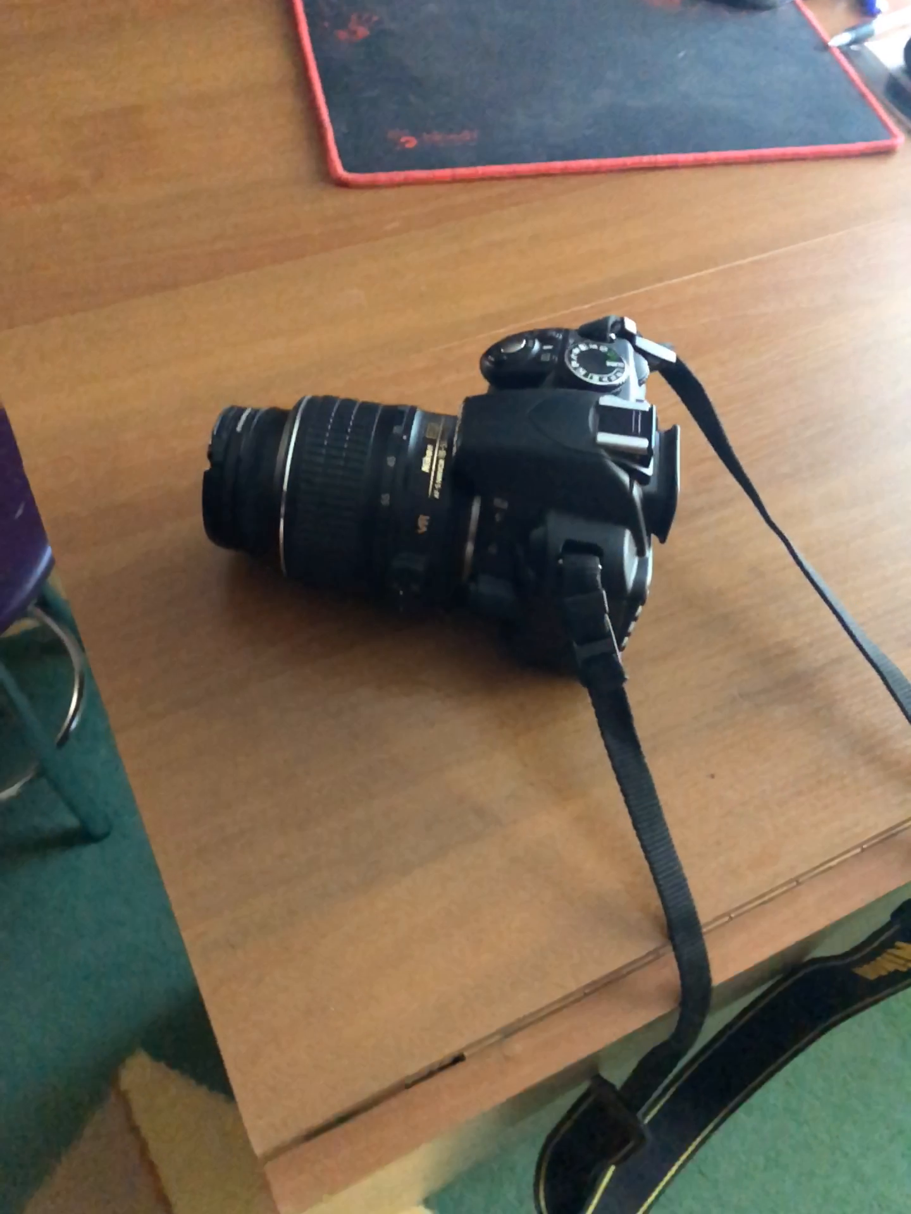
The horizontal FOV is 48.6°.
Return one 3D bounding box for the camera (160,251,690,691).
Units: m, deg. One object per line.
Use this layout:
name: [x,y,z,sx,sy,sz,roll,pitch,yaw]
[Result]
camera: [-0.006,-0.049,0.369,0.161,0.078,0.111,10,56,1]
